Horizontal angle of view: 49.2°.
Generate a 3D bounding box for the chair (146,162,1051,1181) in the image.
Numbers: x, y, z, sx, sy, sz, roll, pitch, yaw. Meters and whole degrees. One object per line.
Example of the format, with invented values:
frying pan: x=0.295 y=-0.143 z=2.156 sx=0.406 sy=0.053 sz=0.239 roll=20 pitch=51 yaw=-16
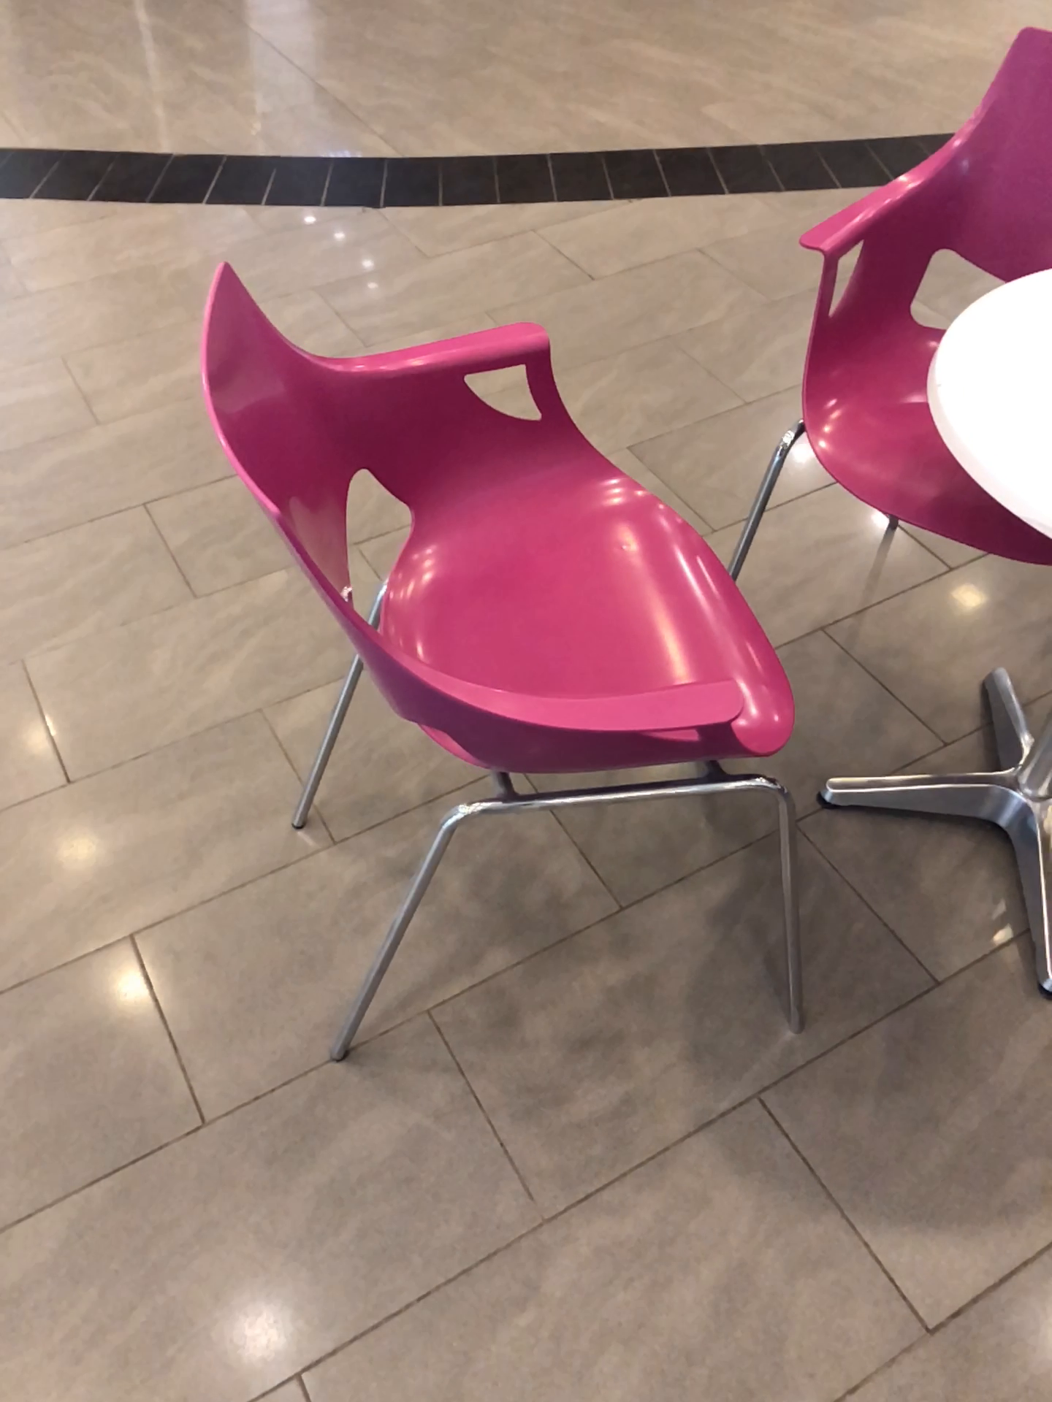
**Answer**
chair: x=0.028 y=-0.017 z=1.283 sx=0.670 sy=0.837 sz=0.622 roll=-11 pitch=46 yaw=-9
